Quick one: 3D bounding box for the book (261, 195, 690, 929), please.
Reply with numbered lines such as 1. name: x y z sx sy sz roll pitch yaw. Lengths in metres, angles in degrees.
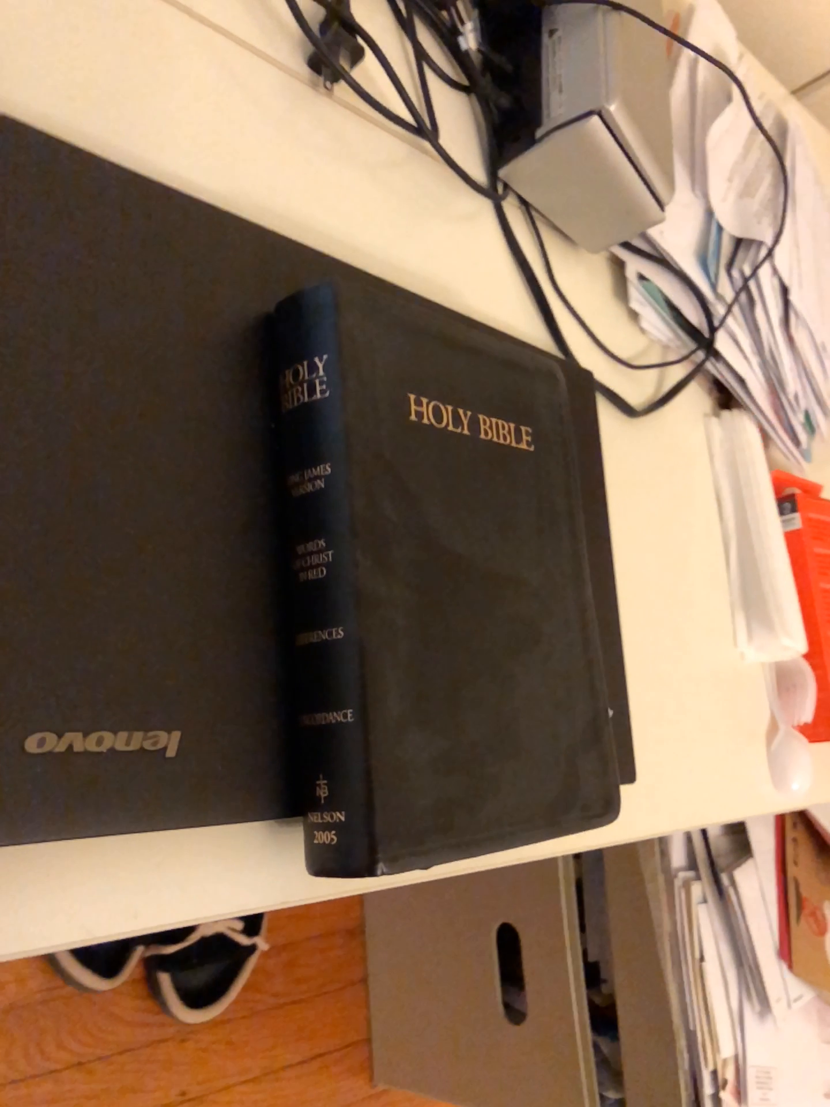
1. book: 0.029 0.004 0.365 0.171 0.040 0.240 7 72 -44
